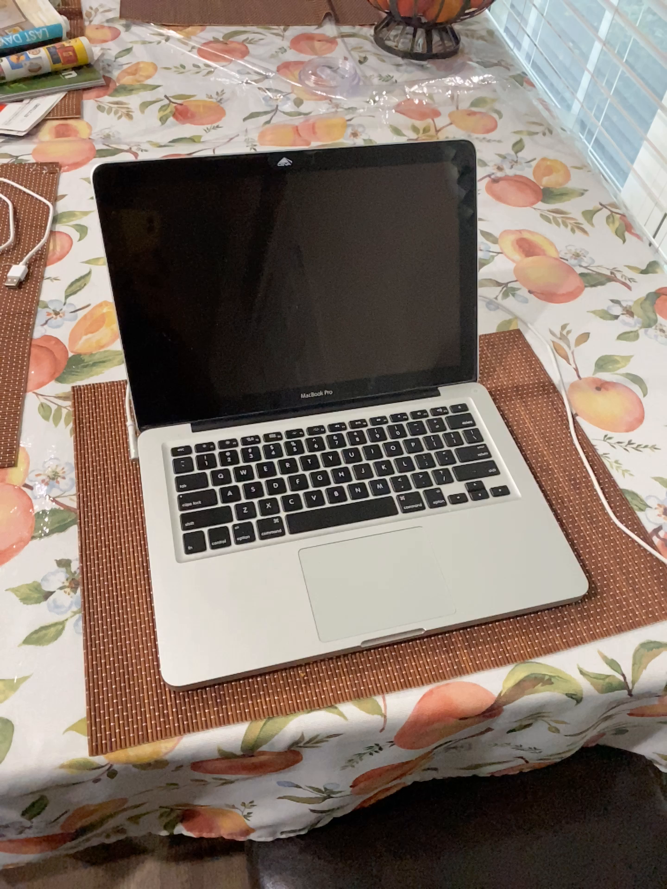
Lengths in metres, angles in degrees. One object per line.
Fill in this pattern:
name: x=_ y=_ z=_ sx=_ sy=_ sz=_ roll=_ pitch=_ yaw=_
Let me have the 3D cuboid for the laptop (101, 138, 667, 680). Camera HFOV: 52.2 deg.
laptop: x=0.009 y=-0.054 z=0.524 sx=0.317 sy=0.162 sz=0.349 roll=-9 pitch=54 yaw=-11
